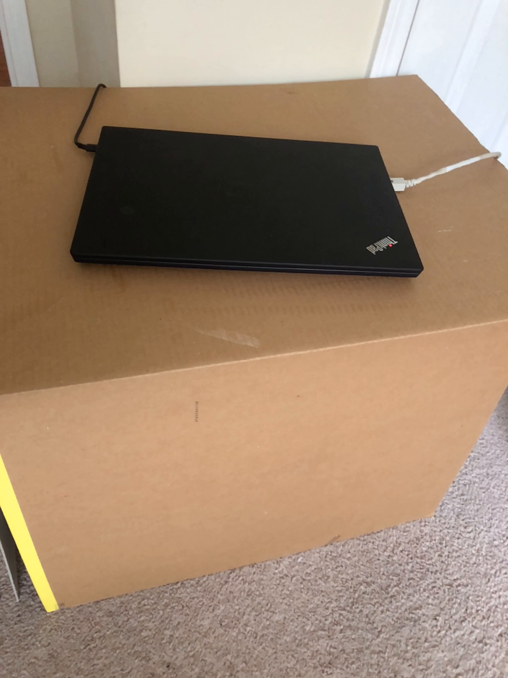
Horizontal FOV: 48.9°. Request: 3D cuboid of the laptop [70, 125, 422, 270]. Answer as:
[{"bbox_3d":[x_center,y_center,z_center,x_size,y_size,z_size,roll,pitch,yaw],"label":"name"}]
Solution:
[{"bbox_3d":[-0.006,-0.157,0.591,0.327,0.002,0.226,2,48,-7],"label":"laptop"}]
